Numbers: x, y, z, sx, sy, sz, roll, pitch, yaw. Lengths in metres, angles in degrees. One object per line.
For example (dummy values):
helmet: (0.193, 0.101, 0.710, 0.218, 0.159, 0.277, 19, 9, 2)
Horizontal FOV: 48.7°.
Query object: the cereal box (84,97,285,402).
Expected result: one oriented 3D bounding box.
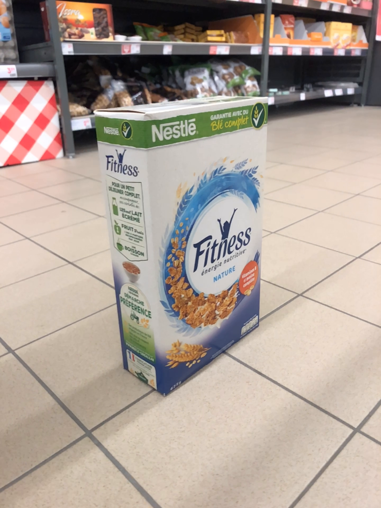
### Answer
cereal box: (0.008, -0.020, 0.498, 0.090, 0.298, 0.211, 19, 30, 39)
